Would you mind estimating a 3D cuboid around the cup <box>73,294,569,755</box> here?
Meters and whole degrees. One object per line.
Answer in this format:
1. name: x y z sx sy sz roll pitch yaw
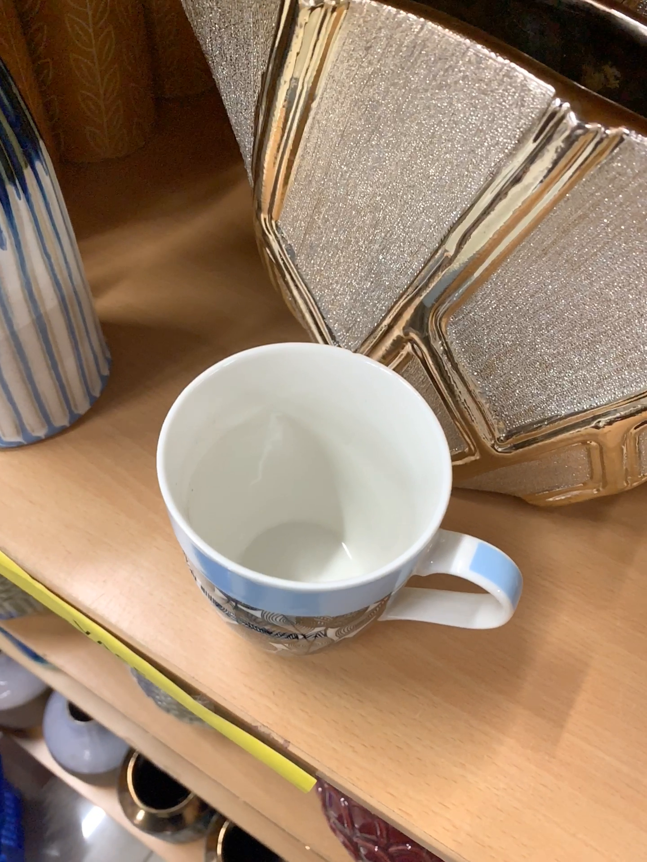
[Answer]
1. cup: 0.002 0.031 0.208 0.110 0.090 0.080 16 53 6
